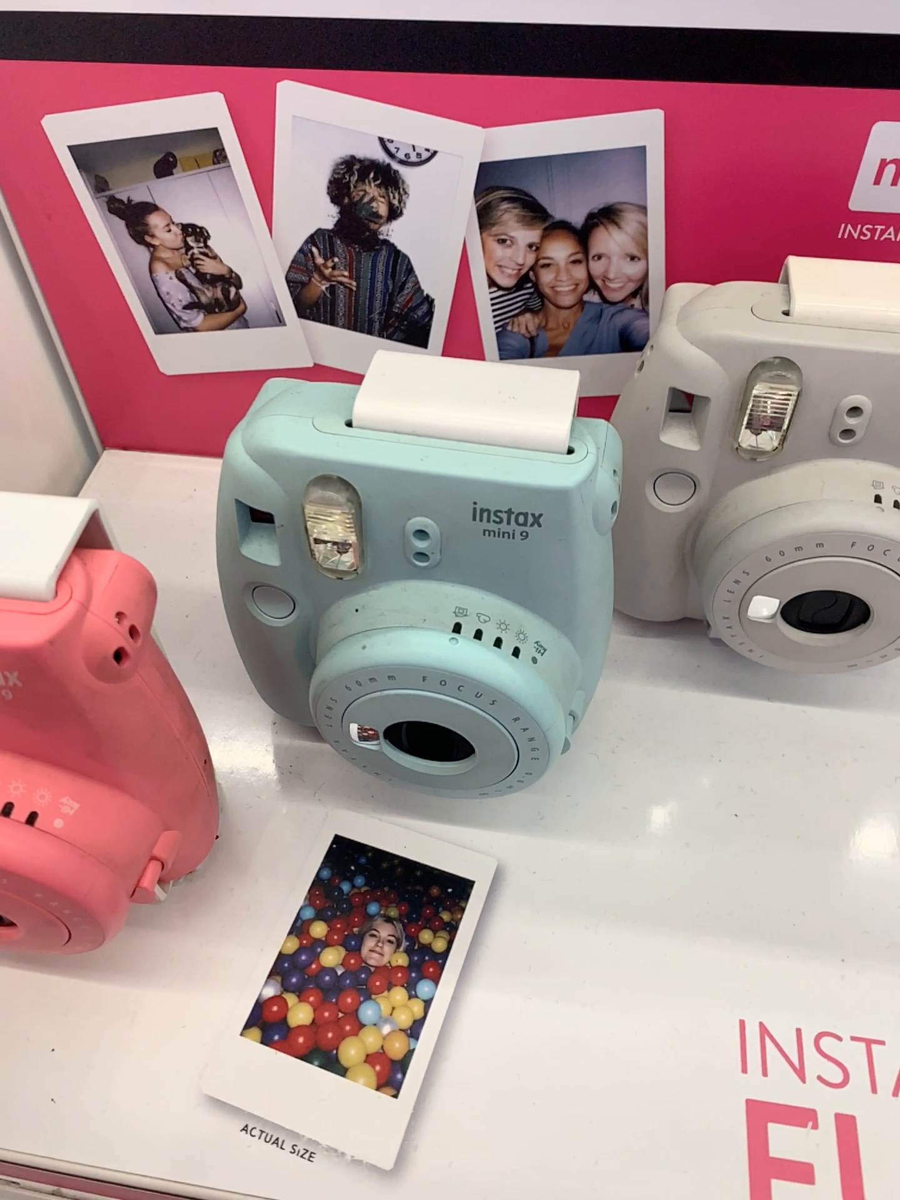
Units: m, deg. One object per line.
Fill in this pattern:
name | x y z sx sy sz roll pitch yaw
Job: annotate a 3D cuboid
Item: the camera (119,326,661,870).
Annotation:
camera | -0.009 0.005 0.262 0.110 0.129 0.071 9 50 9
